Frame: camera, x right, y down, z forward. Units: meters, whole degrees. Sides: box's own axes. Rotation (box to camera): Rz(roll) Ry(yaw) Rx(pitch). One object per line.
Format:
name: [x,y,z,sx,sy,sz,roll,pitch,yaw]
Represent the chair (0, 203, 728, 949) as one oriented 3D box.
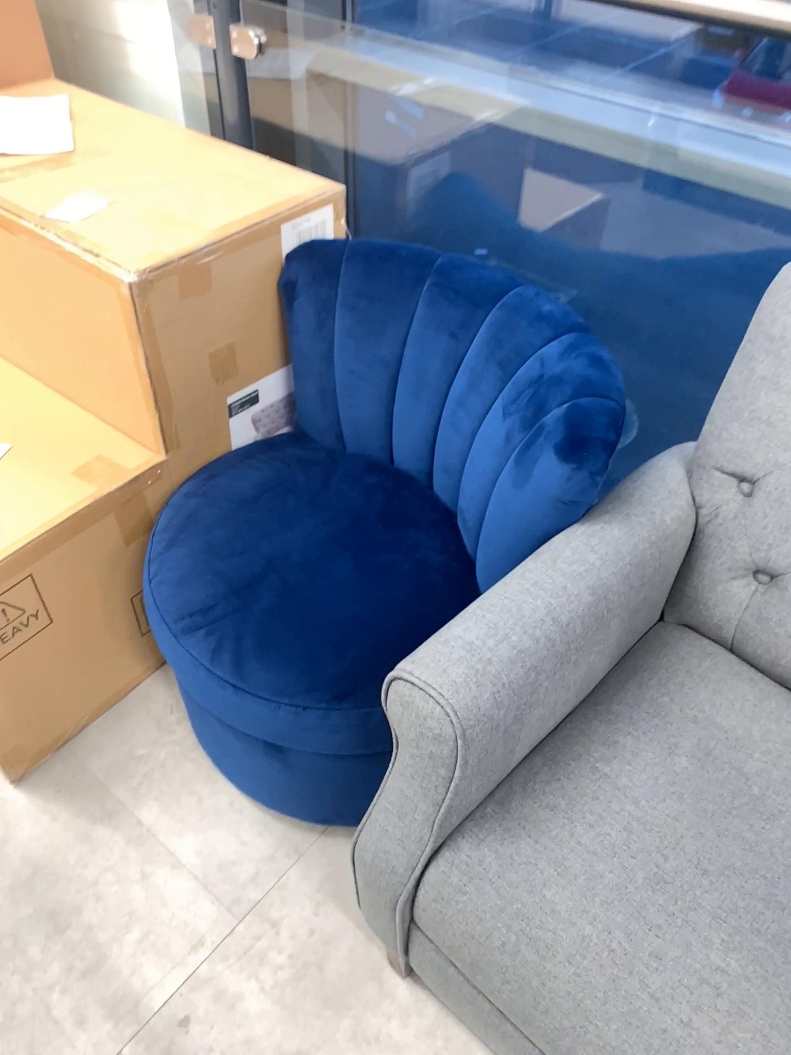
chair: [-0.058,0.029,1.237,0.663,0.673,0.644,-31,53,-29]
